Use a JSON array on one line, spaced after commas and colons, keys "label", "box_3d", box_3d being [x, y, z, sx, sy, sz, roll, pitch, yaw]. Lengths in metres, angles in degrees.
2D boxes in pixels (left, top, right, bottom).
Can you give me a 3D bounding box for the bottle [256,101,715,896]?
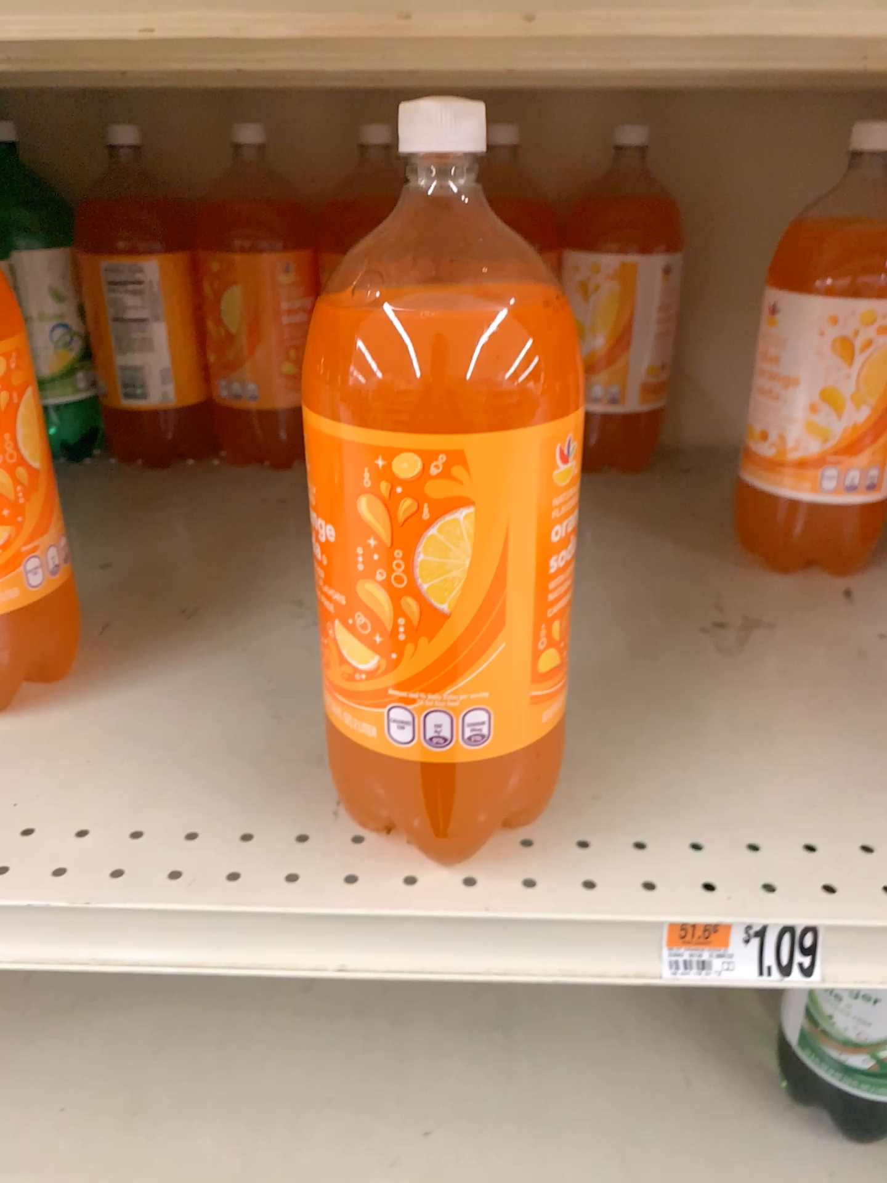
[{"label": "bottle", "box_3d": [0.009, -0.038, 0.380, 0.120, 0.288, 0.110, 0, 27, 0]}]
